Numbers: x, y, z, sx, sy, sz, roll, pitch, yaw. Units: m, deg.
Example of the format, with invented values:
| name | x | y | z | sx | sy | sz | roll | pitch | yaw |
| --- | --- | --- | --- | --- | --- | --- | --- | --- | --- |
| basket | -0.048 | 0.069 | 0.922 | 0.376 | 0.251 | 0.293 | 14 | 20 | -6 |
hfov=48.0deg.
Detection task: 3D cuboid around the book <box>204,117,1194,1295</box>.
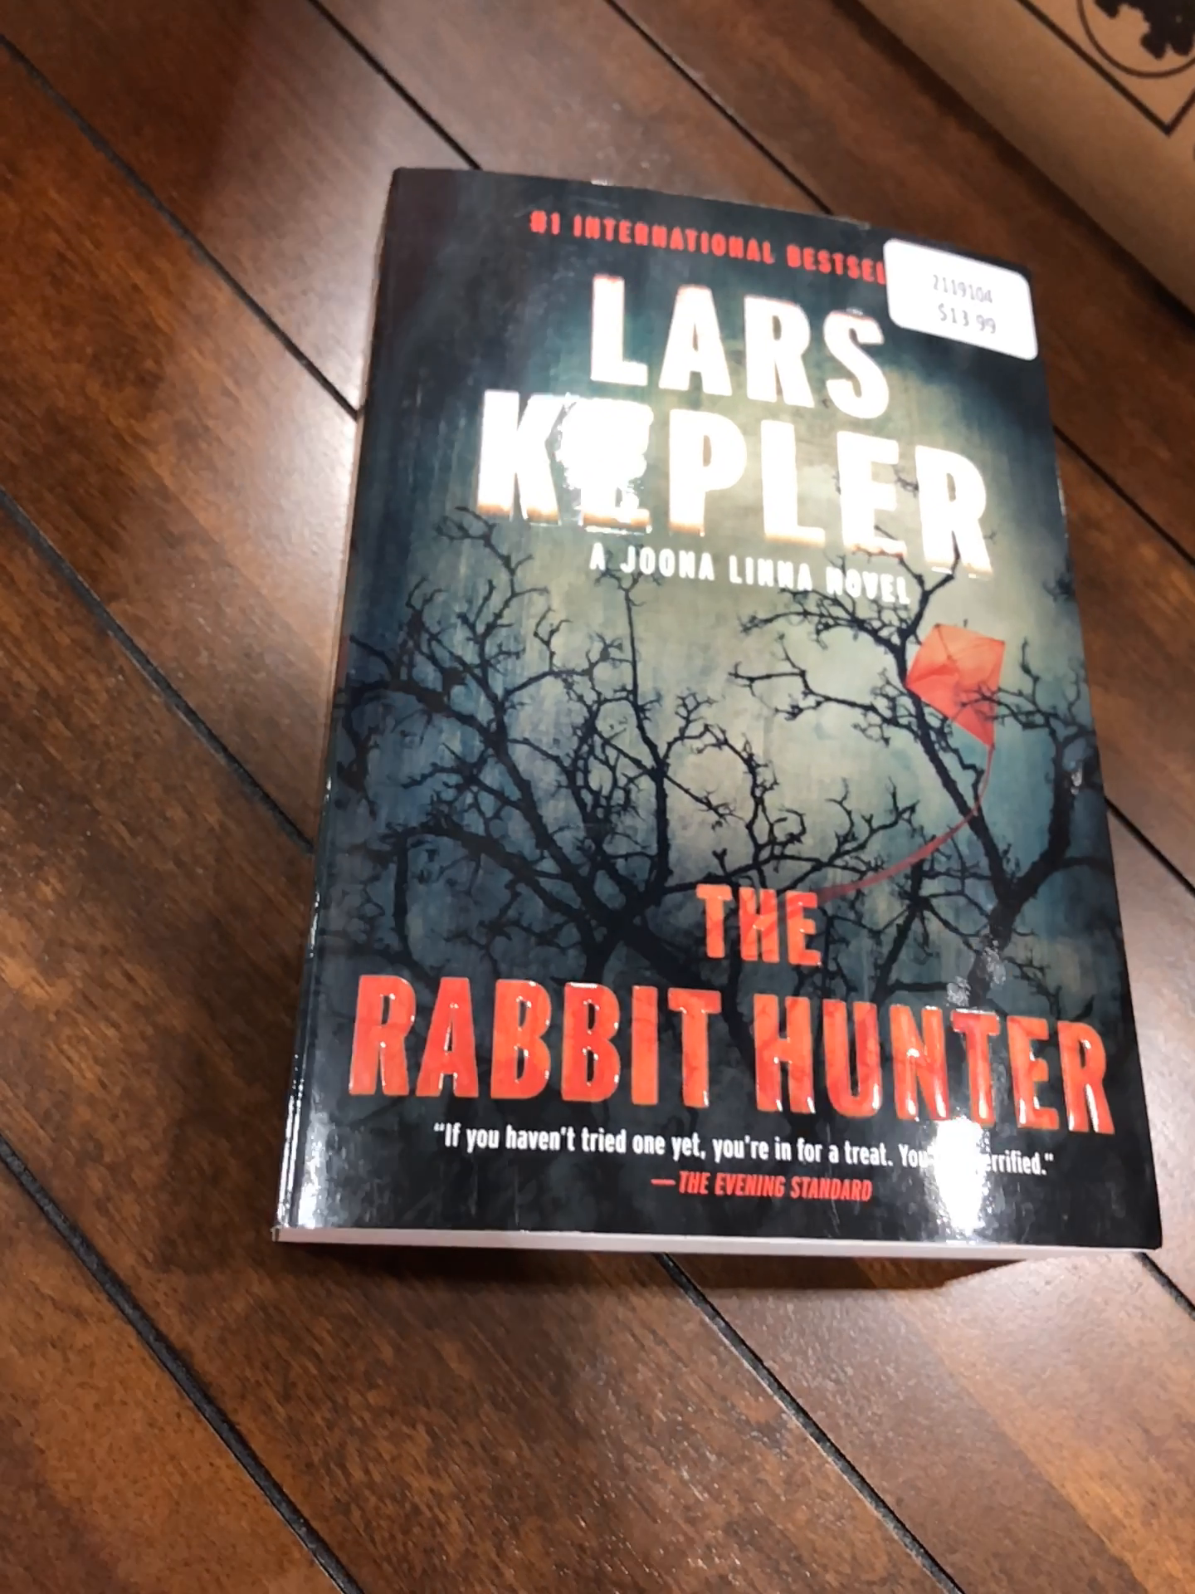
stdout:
| name | x | y | z | sx | sy | sz | roll | pitch | yaw |
| --- | --- | --- | --- | --- | --- | --- | --- | --- | --- |
| book | 0.019 | -0.021 | 0.269 | 0.159 | 0.046 | 0.222 | 6 | 66 | -11 |
